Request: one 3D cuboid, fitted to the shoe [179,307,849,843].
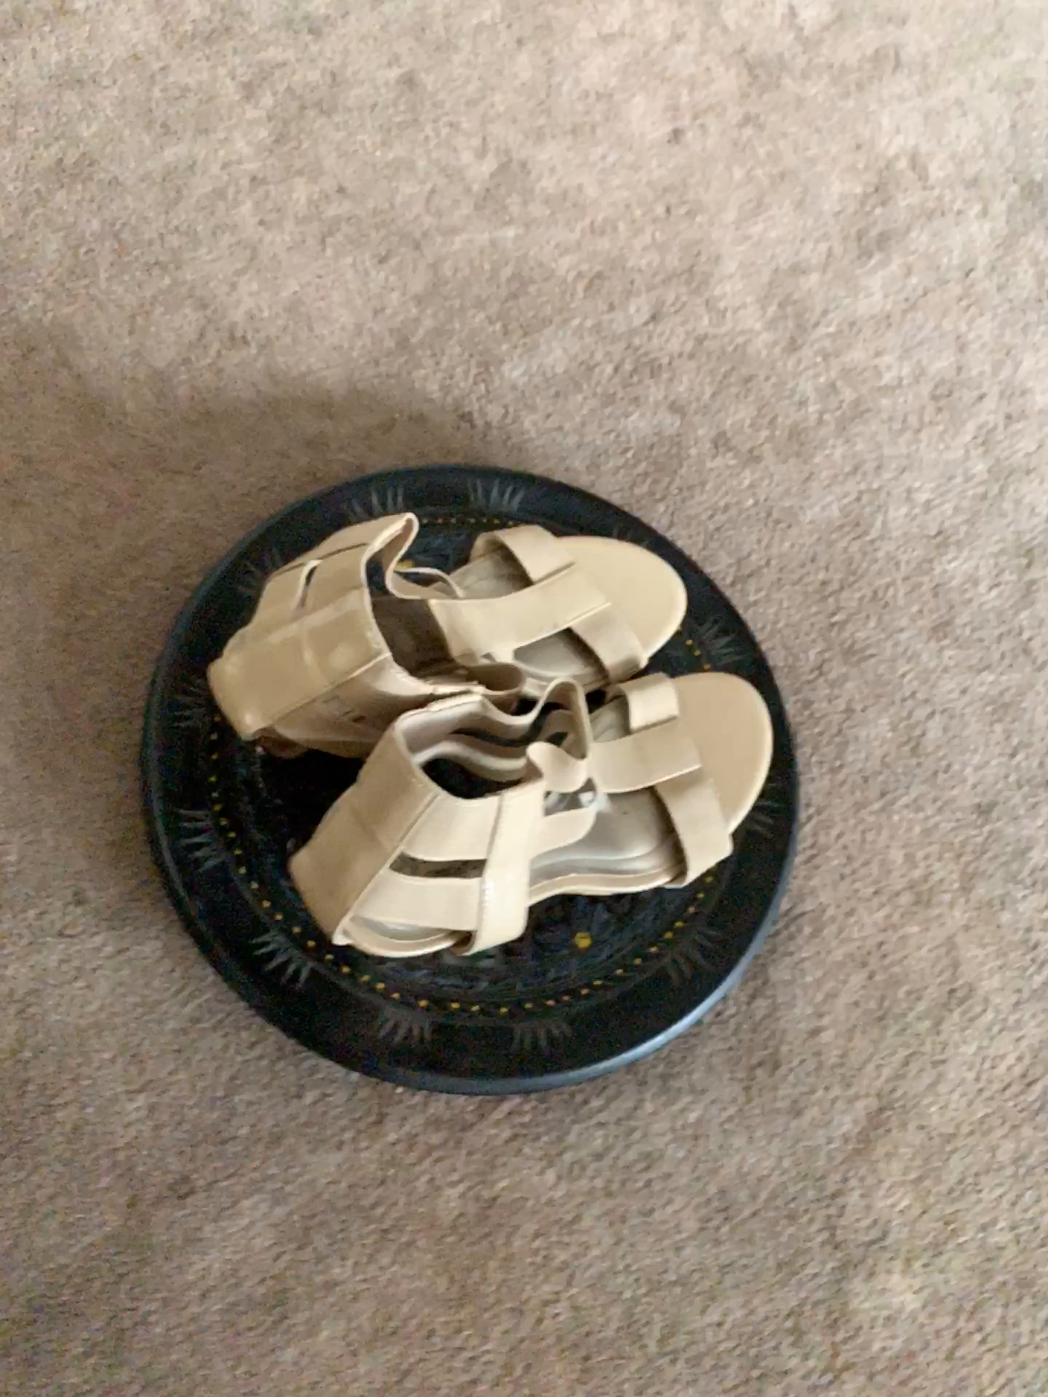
[{"bbox_3d":[-0.004,-0.051,0.427,0.221,0.099,0.100,-26,74,-21],"label":"shoe"}]

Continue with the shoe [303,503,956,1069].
[{"bbox_3d":[0.036,0.031,0.413,0.221,0.099,0.090,-30,75,-22],"label":"shoe"}]
